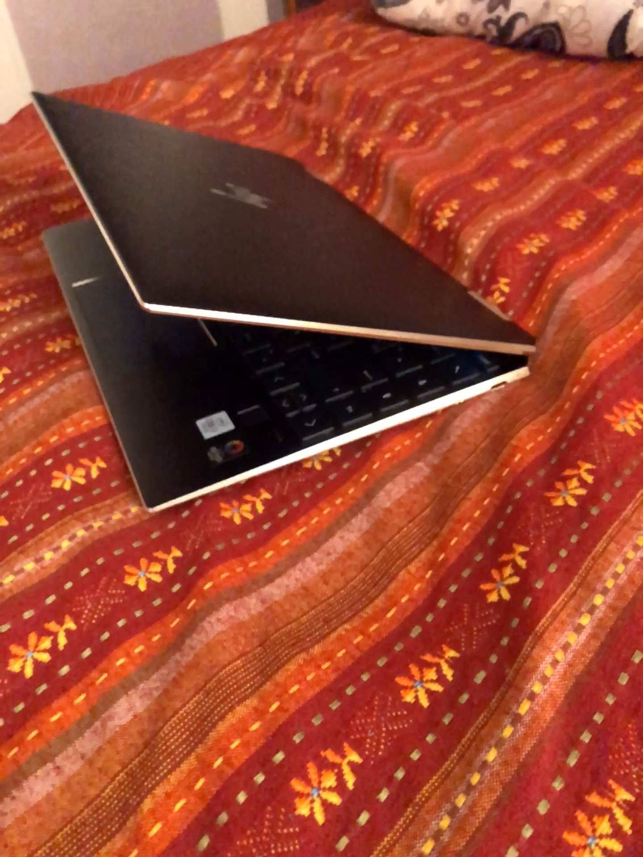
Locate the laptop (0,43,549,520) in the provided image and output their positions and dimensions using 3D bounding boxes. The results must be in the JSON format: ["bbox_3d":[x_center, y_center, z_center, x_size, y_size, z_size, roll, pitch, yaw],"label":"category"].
[{"bbox_3d":[-0.052,-0.127,0.405,0.203,0.101,0.327,-18,39,-18],"label":"laptop"}]
